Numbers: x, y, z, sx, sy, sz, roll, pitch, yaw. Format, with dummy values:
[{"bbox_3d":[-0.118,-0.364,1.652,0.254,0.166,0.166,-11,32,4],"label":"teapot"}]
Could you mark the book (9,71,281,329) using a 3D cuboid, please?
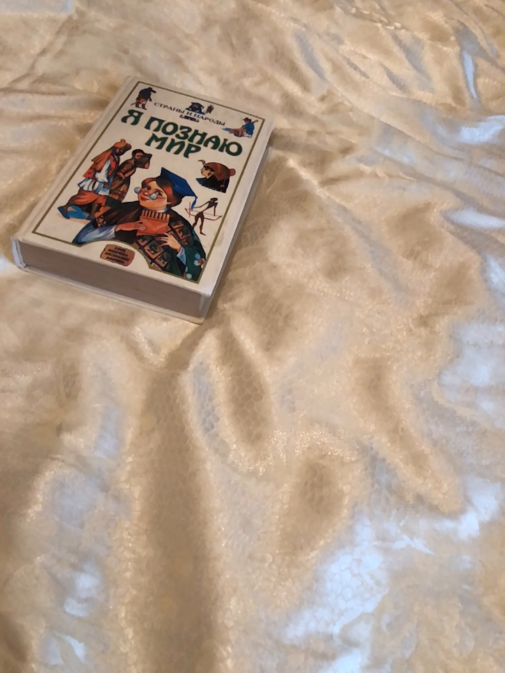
[{"bbox_3d":[-0.066,-0.112,0.417,0.134,0.037,0.198,17,54,-1],"label":"book"}]
